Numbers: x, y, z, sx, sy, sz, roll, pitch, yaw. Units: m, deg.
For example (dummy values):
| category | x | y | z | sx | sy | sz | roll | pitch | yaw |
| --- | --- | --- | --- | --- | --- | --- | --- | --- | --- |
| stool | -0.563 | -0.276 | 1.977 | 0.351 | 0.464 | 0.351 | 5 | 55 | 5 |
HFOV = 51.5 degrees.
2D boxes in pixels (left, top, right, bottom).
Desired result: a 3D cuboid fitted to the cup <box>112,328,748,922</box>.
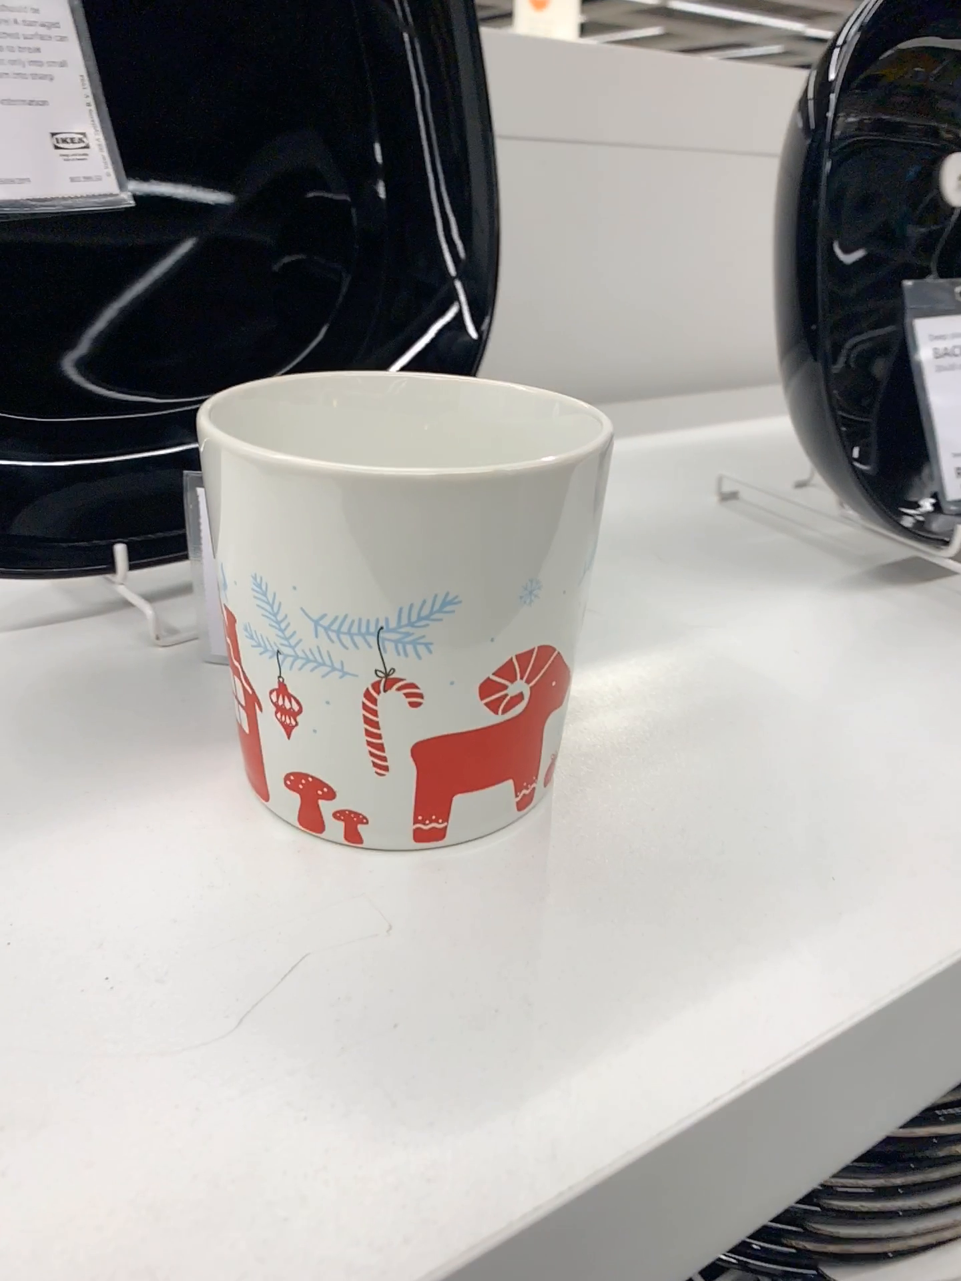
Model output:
| category | x | y | z | sx | sy | sz | roll | pitch | yaw |
| --- | --- | --- | --- | --- | --- | --- | --- | --- | --- |
| cup | -0.004 | -0.018 | 0.240 | 0.090 | 0.090 | 0.120 | 15 | 28 | 27 |
